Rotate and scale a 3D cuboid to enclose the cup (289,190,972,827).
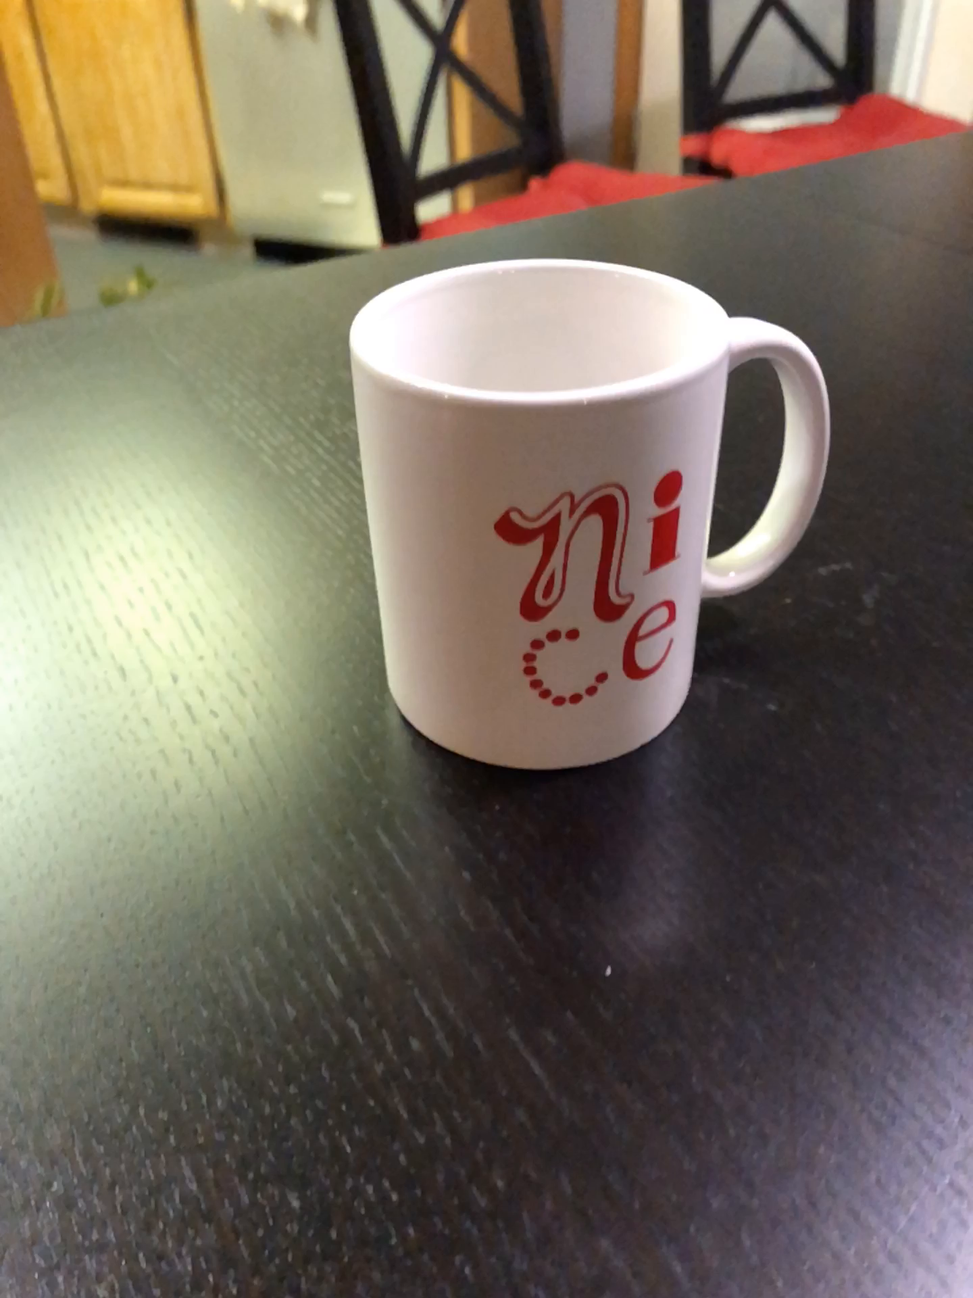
[{"bbox_3d":[0.029,-0.043,0.274,0.120,0.099,0.100,-16,39,-18],"label":"cup"}]
